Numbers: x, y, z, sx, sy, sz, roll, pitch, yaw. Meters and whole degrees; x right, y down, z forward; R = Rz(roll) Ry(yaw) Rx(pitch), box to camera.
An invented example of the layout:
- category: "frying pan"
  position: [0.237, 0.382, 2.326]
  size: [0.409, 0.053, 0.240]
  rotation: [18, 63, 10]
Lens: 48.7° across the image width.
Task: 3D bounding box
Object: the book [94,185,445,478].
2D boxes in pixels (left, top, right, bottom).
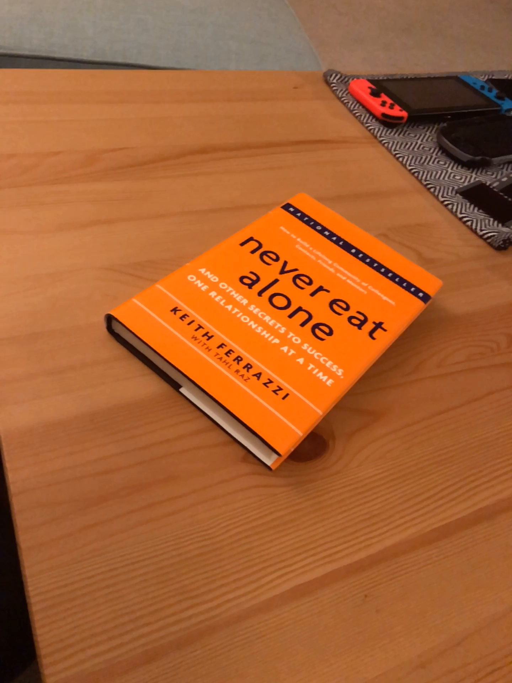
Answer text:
- category: "book"
  position: [0.023, -0.031, 0.449]
  size: [0.166, 0.025, 0.241]
  rotation: [38, 51, 17]
